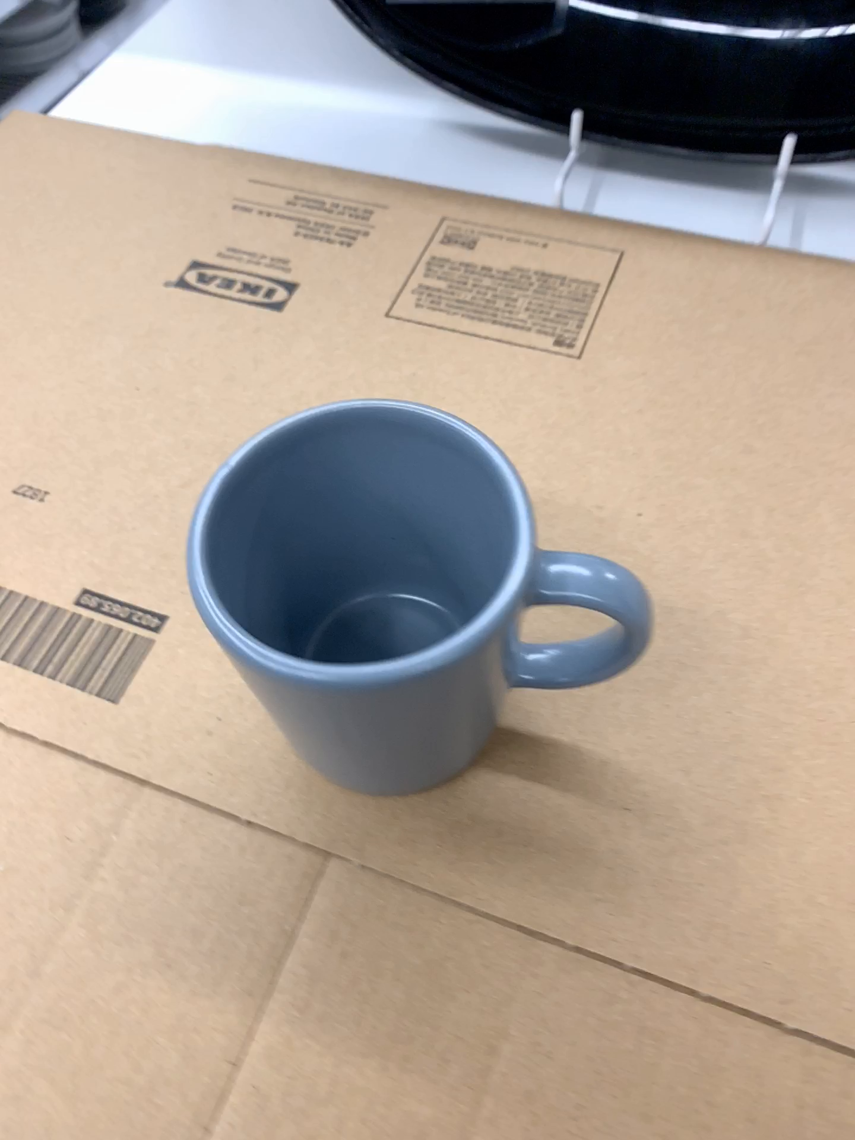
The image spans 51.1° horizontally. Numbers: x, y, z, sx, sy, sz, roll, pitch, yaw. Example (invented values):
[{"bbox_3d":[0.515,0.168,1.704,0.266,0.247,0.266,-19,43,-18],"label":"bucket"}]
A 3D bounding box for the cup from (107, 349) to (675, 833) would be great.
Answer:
[{"bbox_3d":[-0.001,0.005,0.166,0.080,0.060,0.060,5,55,6],"label":"cup"}]
